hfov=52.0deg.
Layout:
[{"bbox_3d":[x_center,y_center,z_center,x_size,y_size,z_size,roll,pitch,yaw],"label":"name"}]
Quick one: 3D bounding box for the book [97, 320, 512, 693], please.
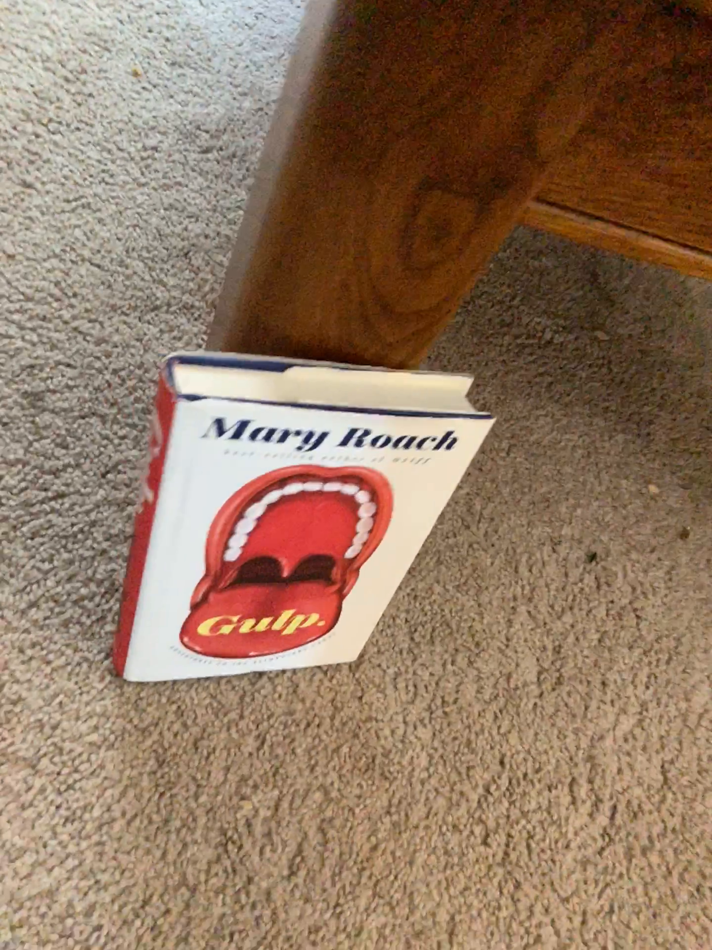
[{"bbox_3d":[-0.043,0.034,0.385,0.160,0.229,0.040,2,46,-23],"label":"book"}]
